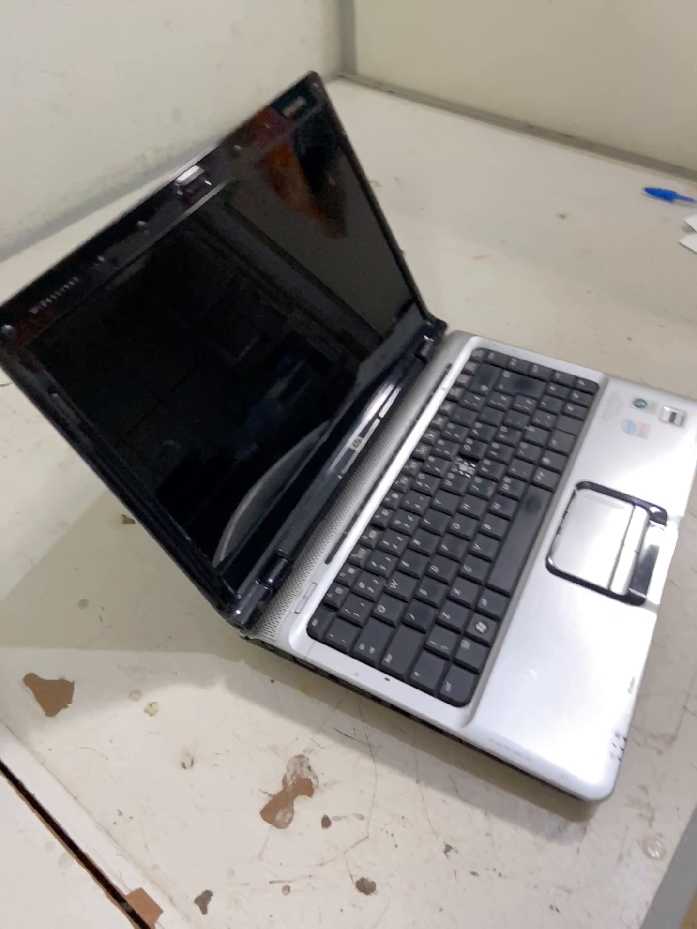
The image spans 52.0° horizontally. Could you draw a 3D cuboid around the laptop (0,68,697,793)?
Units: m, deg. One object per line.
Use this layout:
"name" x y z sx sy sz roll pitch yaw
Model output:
"laptop" 0.053 -0.058 0.445 0.334 0.193 0.322 20 53 19
